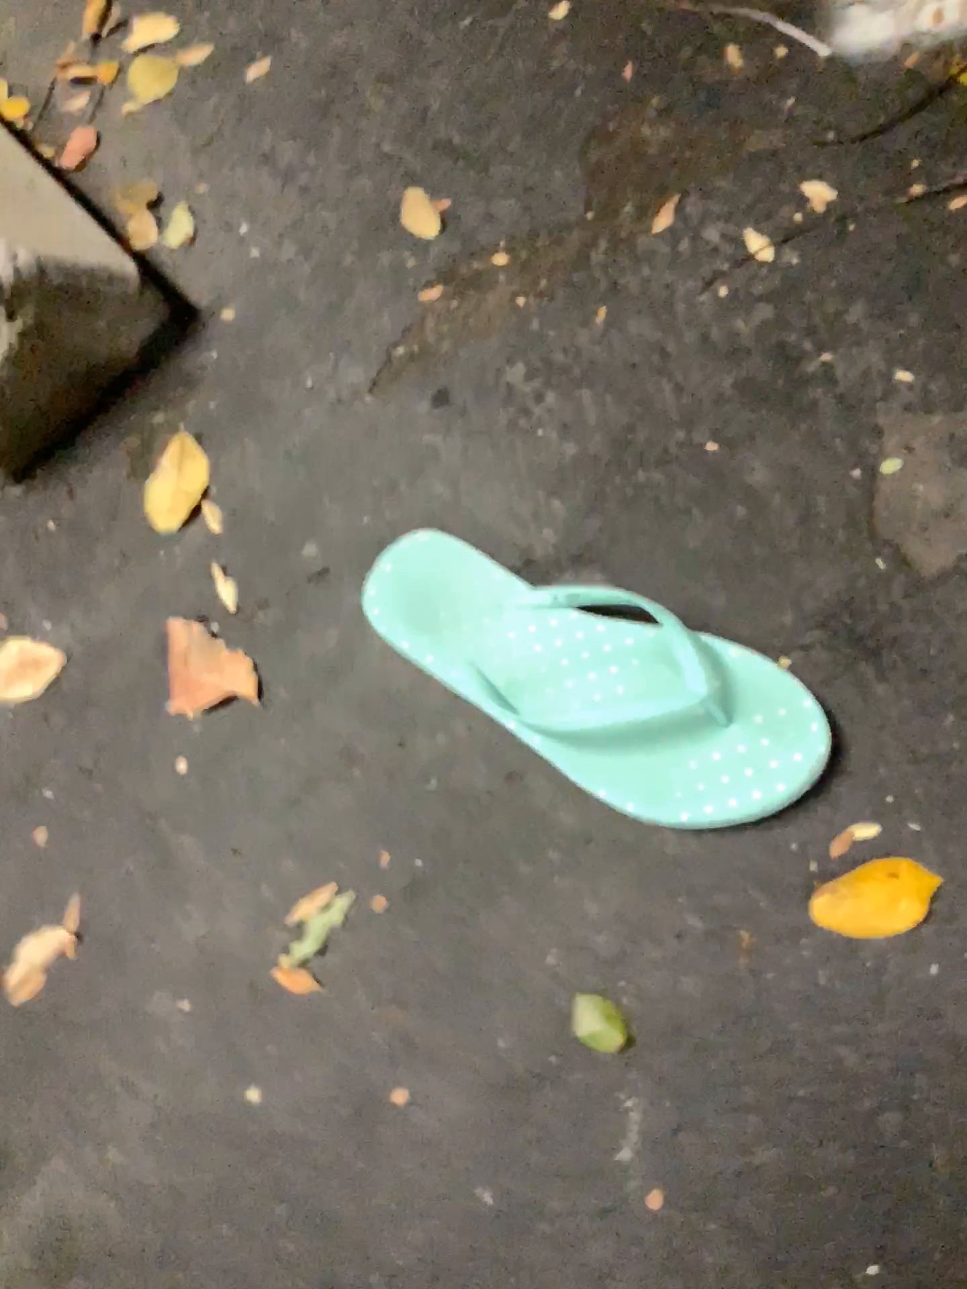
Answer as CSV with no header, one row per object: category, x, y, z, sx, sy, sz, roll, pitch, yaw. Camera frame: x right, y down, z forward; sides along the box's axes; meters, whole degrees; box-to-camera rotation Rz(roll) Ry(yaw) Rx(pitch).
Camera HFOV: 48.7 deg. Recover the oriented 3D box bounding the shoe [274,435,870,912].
shoe,0.038,0.006,0.557,0.280,0.050,0.120,31,78,22
